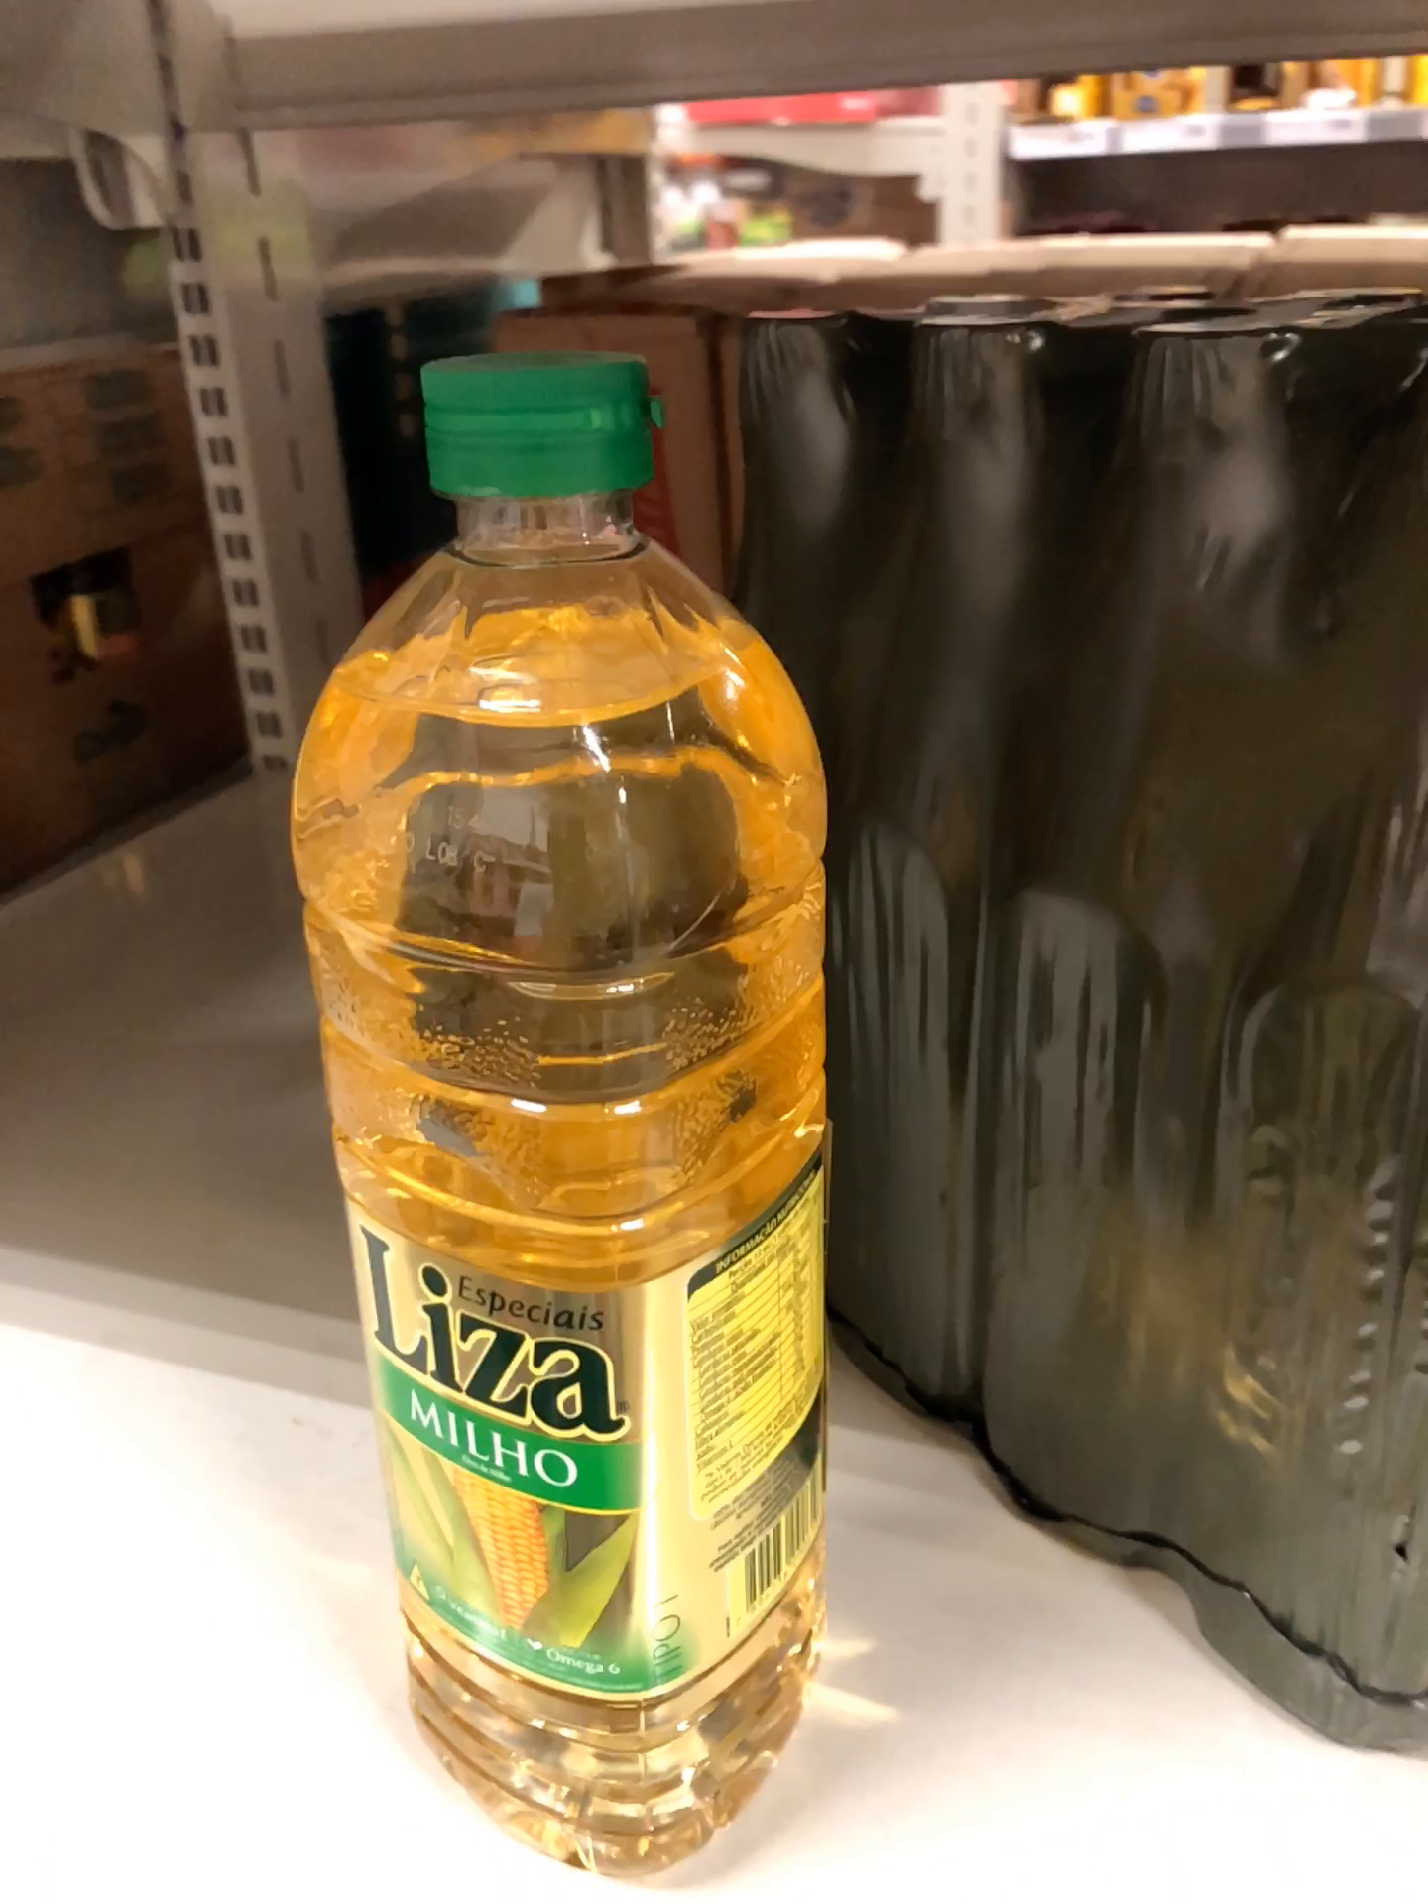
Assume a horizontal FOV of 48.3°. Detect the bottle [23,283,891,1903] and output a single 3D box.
[{"bbox_3d":[-0.025,0.032,0.253,0.080,0.248,0.070,11,29,28],"label":"bottle"}]
